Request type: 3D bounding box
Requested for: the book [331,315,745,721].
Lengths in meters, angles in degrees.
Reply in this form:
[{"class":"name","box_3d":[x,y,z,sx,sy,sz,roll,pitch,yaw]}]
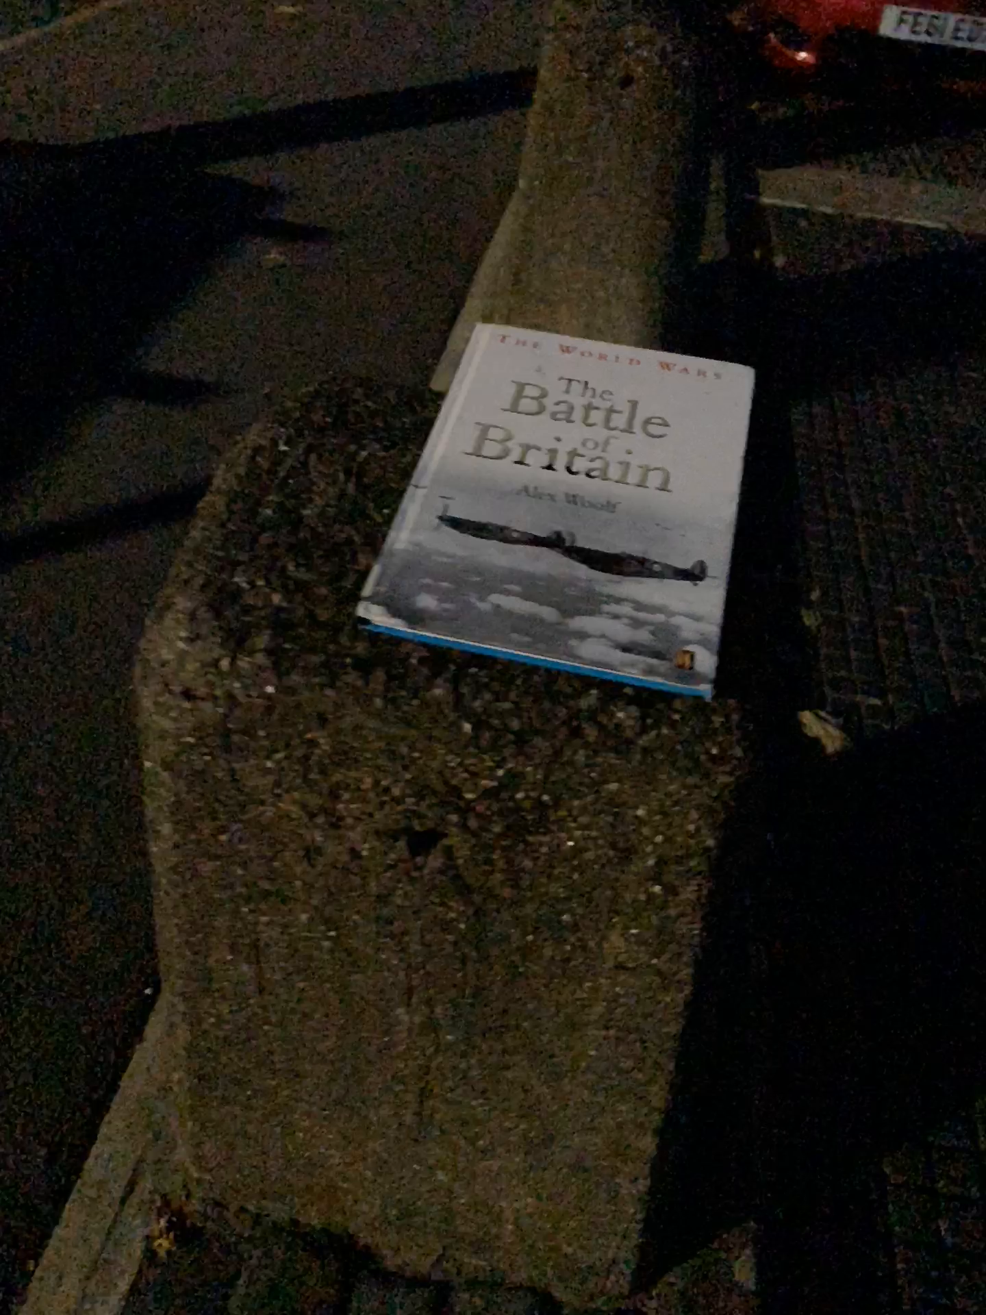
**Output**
[{"class":"book","box_3d":[0.036,-0.090,0.540,0.170,0.020,0.246,13,53,7]}]
